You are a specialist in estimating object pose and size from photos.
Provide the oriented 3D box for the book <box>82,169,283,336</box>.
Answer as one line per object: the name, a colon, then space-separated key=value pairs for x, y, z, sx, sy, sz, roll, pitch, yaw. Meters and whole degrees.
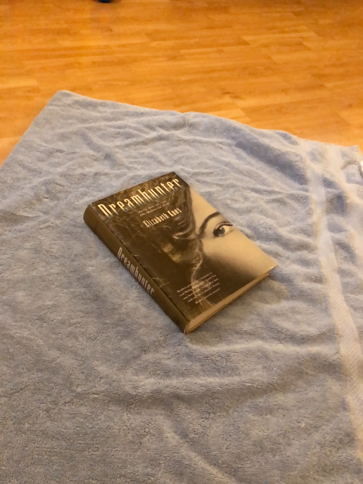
book: x=-0.004 y=-0.003 z=0.542 sx=0.164 sy=0.030 sz=0.225 roll=-27 pitch=55 yaw=-30
